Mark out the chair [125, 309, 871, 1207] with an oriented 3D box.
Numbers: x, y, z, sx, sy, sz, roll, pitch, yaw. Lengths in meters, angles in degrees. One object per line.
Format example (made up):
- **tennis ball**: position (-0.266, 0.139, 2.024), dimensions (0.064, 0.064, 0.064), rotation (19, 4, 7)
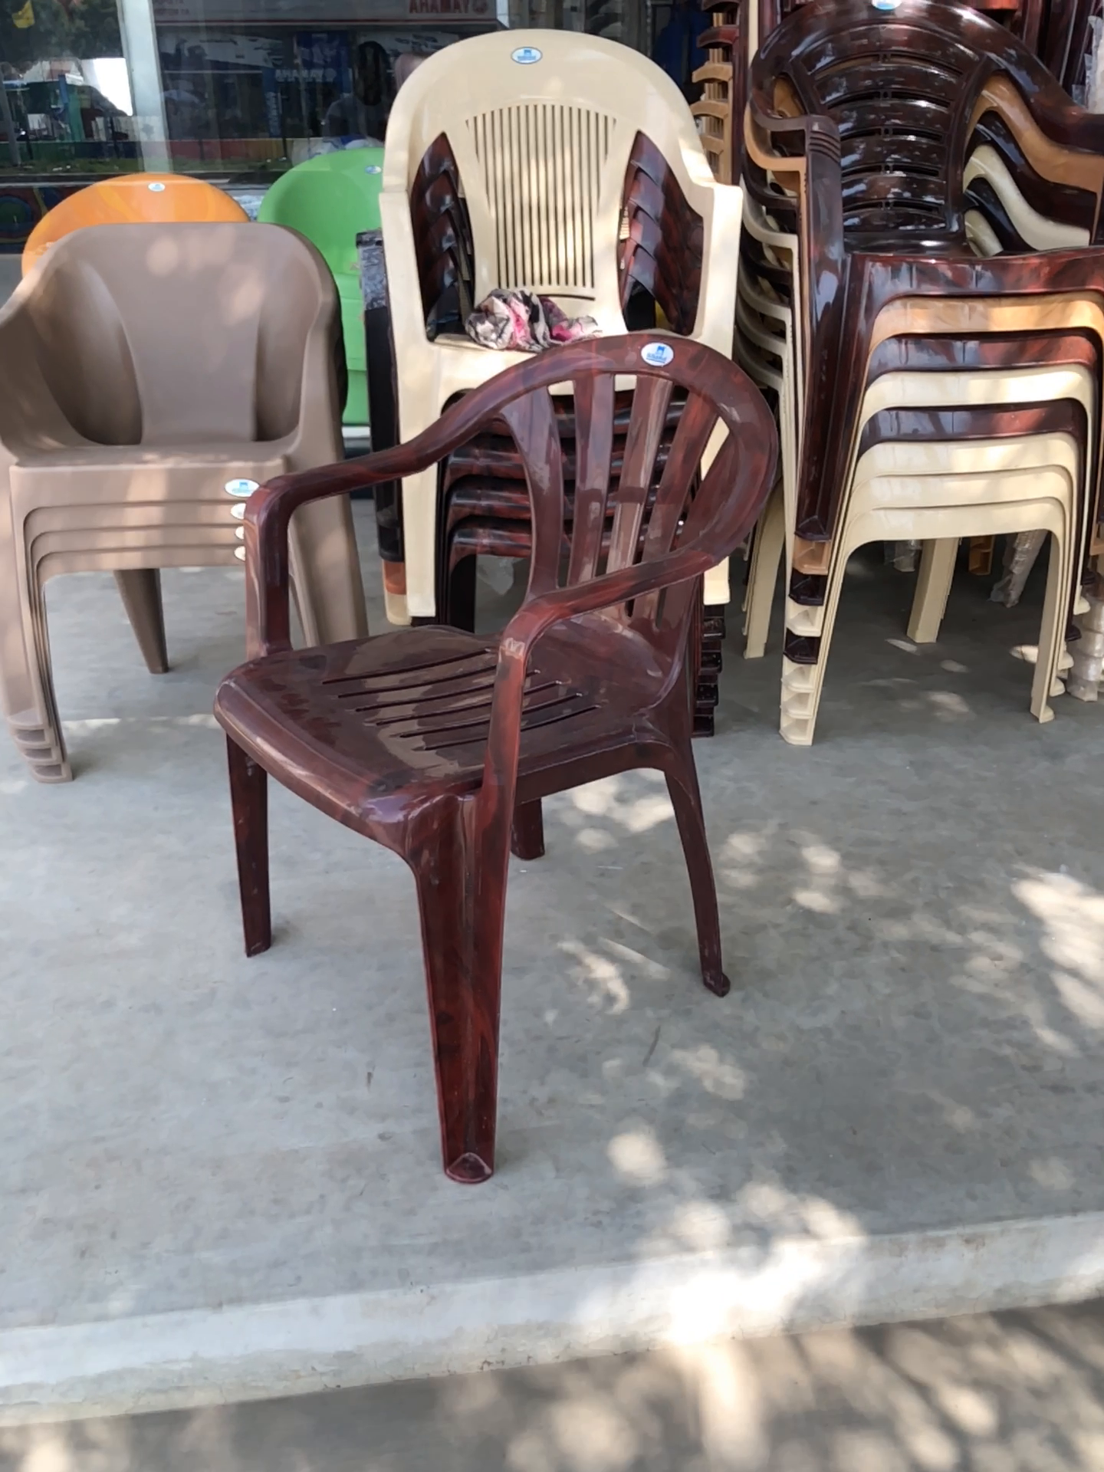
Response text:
- **chair**: position (-0.070, -0.044, 1.405), dimensions (0.522, 0.766, 0.581), rotation (-19, 31, -34)
